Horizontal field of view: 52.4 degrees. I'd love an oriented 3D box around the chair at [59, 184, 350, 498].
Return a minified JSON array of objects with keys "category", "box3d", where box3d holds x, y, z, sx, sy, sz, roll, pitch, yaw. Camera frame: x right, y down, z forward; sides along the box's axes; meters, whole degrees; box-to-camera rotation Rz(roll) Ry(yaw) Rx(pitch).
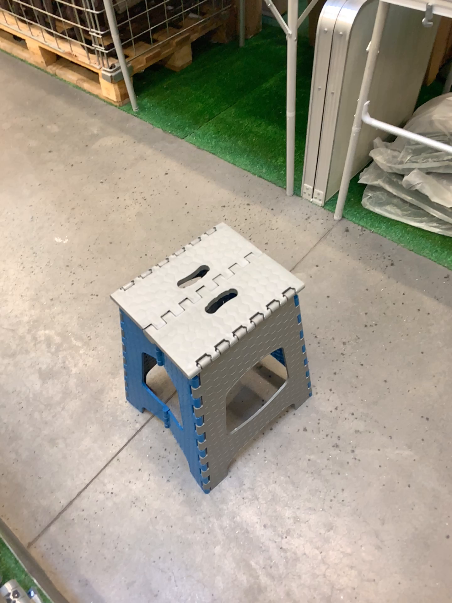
[{"category":"chair","box3d":[-0.032,0.087,0.933,0.350,0.419,0.341,-37,60,-23]}]
